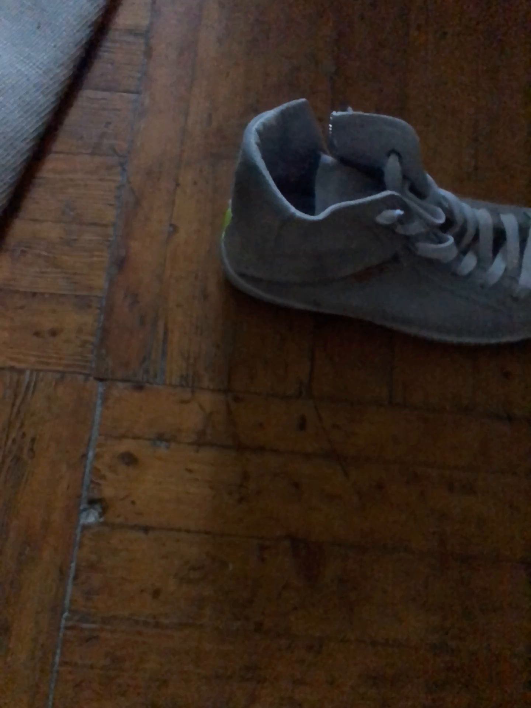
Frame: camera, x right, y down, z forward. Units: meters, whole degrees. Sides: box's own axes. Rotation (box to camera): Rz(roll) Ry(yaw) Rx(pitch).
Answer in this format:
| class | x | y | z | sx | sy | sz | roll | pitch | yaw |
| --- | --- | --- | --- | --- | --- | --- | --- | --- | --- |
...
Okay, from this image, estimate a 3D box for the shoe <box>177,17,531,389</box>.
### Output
| class | x | y | z | sx | sy | sz | roll | pitch | yaw |
| --- | --- | --- | --- | --- | --- | --- | --- | --- | --- |
| shoe | 0.121 | -0.074 | 0.407 | 0.310 | 0.220 | 0.130 | 9 | 82 | 2 |
